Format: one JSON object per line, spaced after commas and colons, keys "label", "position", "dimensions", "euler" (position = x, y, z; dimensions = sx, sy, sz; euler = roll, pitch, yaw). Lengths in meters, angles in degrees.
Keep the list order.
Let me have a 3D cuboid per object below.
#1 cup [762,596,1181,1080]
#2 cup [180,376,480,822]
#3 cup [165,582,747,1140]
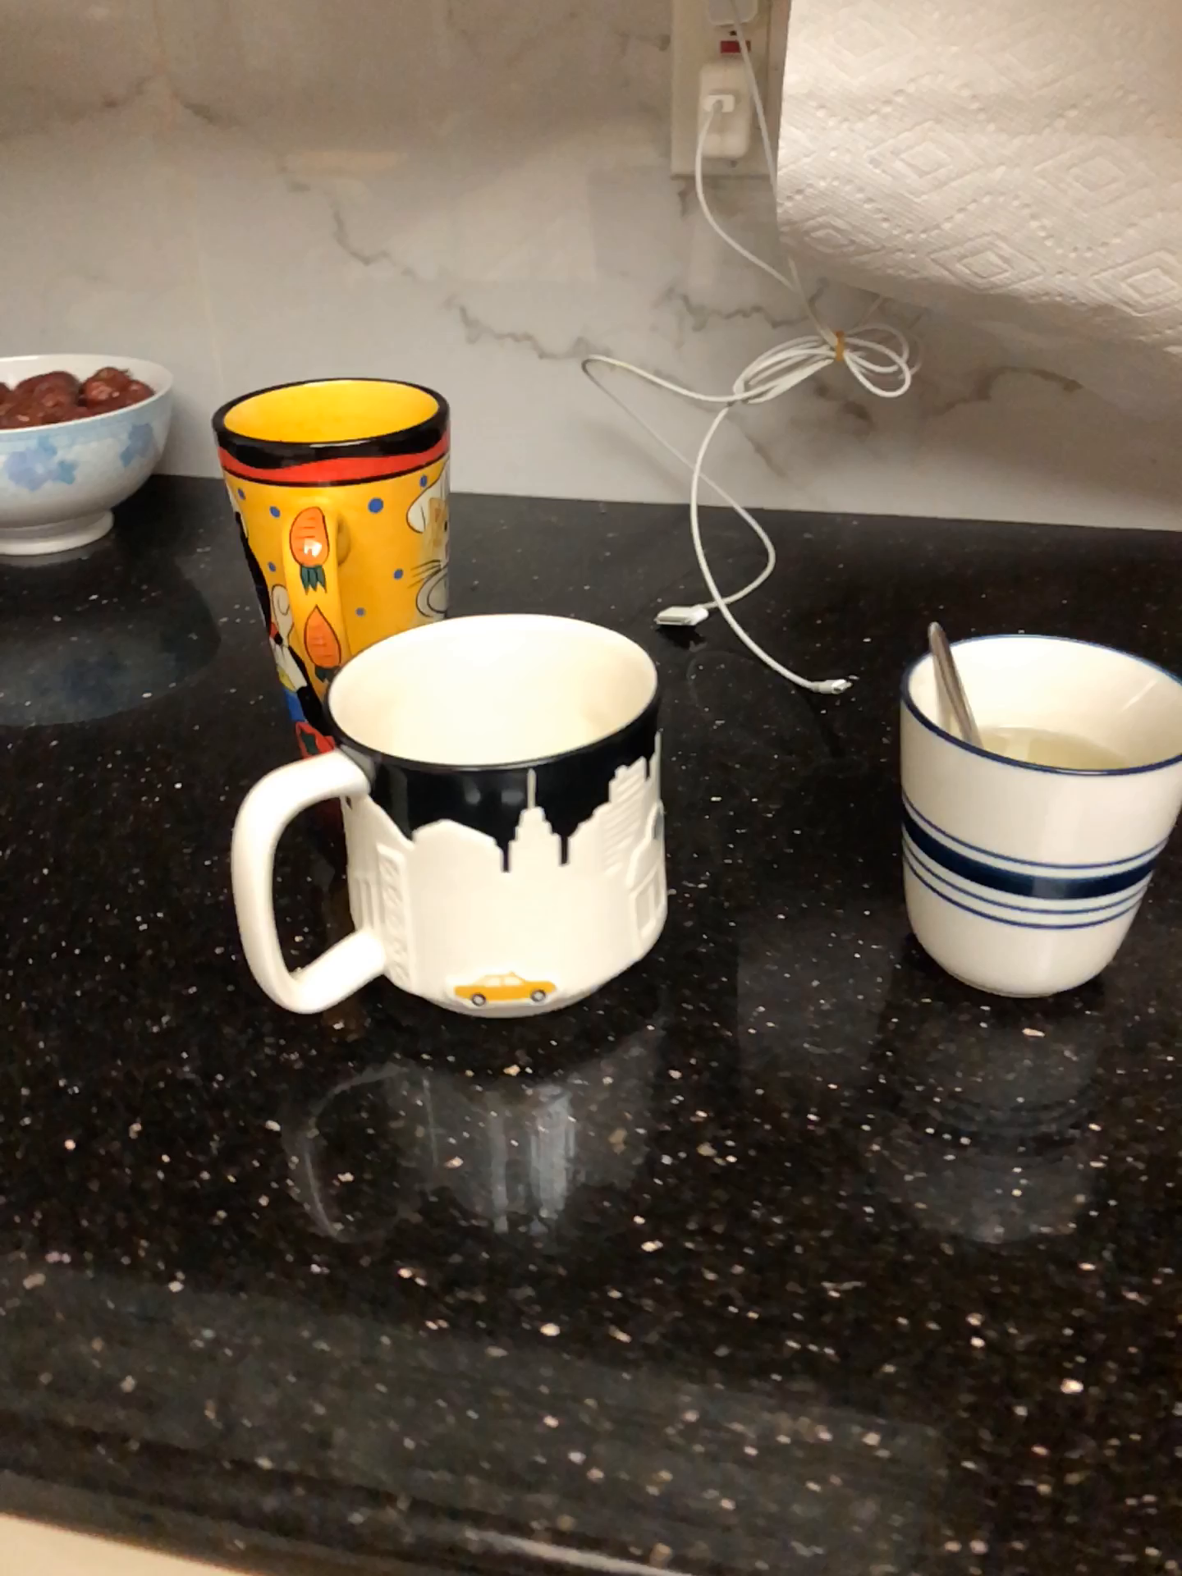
{"label": "cup", "position": [0.134, 0.007, 0.427], "dimensions": [0.100, 0.080, 0.141], "euler": [-11, 33, -15]}
{"label": "cup", "position": [-0.097, -0.080, 0.518], "dimensions": [0.090, 0.129, 0.131], "euler": [-5, 31, -6]}
{"label": "cup", "position": [-0.042, 0.014, 0.417], "dimensions": [0.140, 0.099, 0.110], "euler": [-19, 35, -26]}
